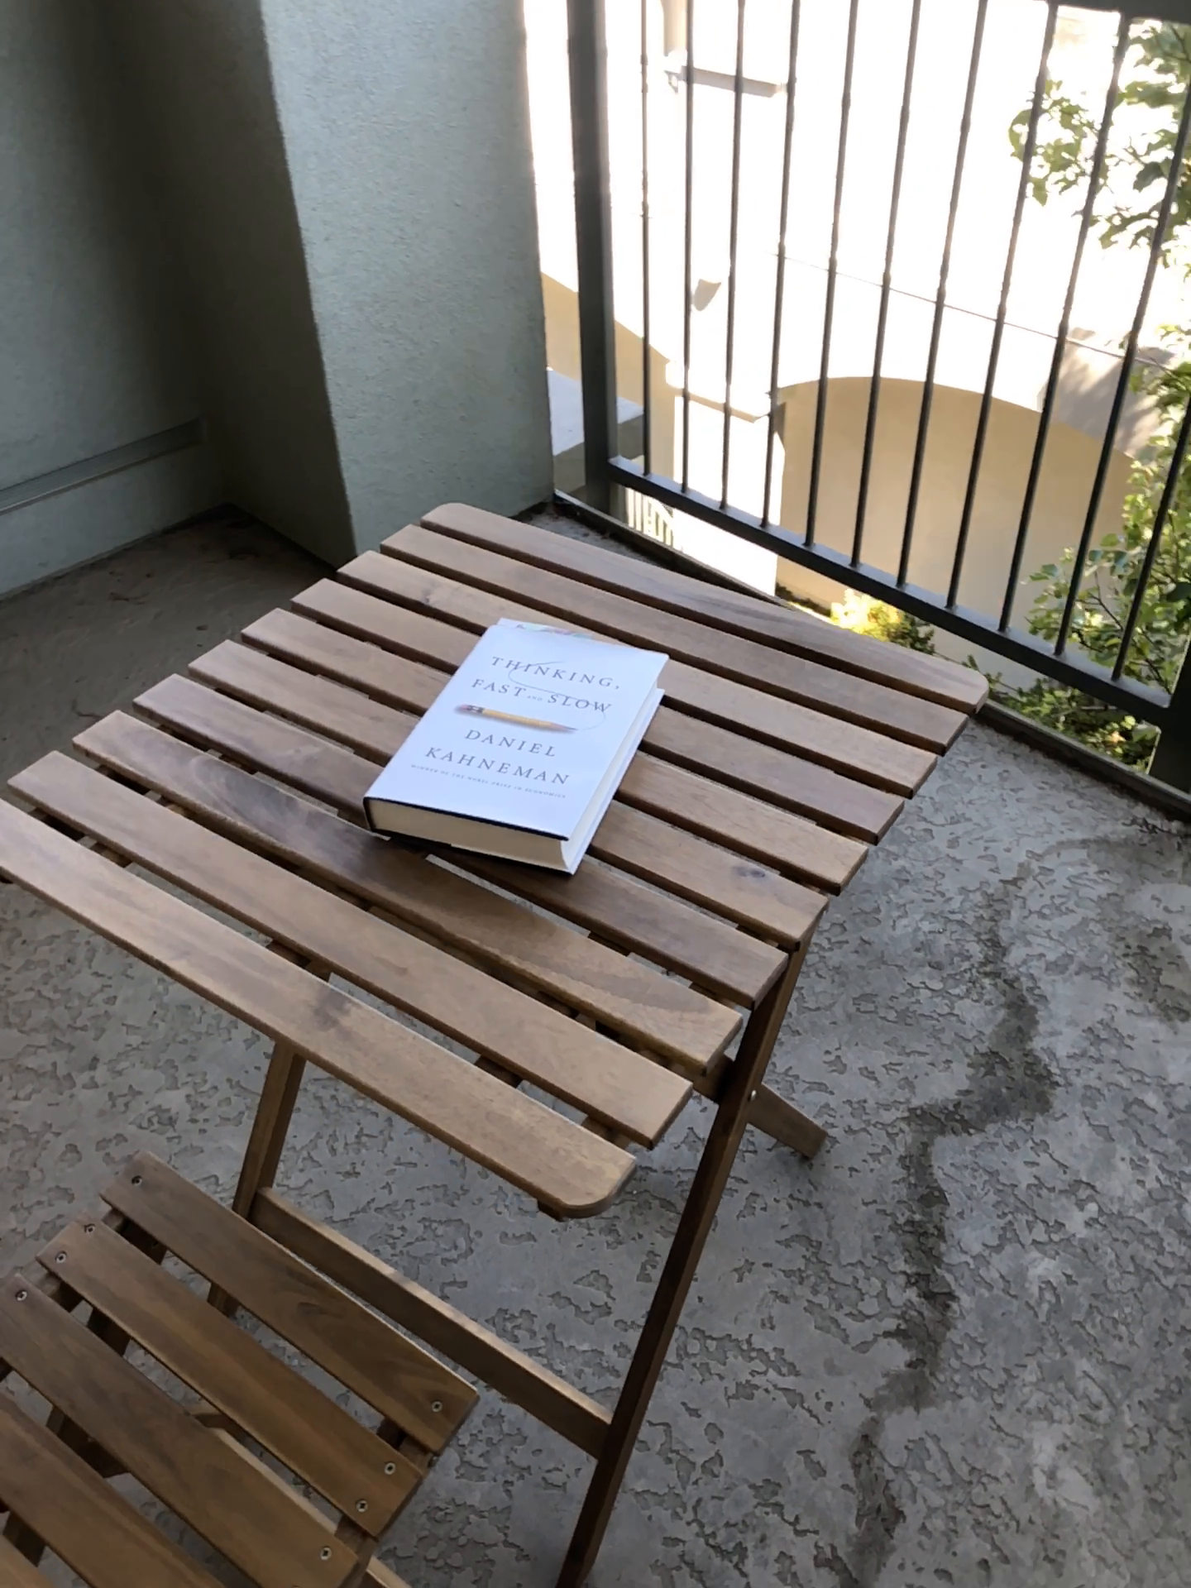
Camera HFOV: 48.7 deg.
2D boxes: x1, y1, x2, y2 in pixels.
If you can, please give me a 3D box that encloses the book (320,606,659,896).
[{"bbox_3d":[-0.071,-0.043,1.017,0.180,0.060,0.241,11,43,15],"label":"book"}]
